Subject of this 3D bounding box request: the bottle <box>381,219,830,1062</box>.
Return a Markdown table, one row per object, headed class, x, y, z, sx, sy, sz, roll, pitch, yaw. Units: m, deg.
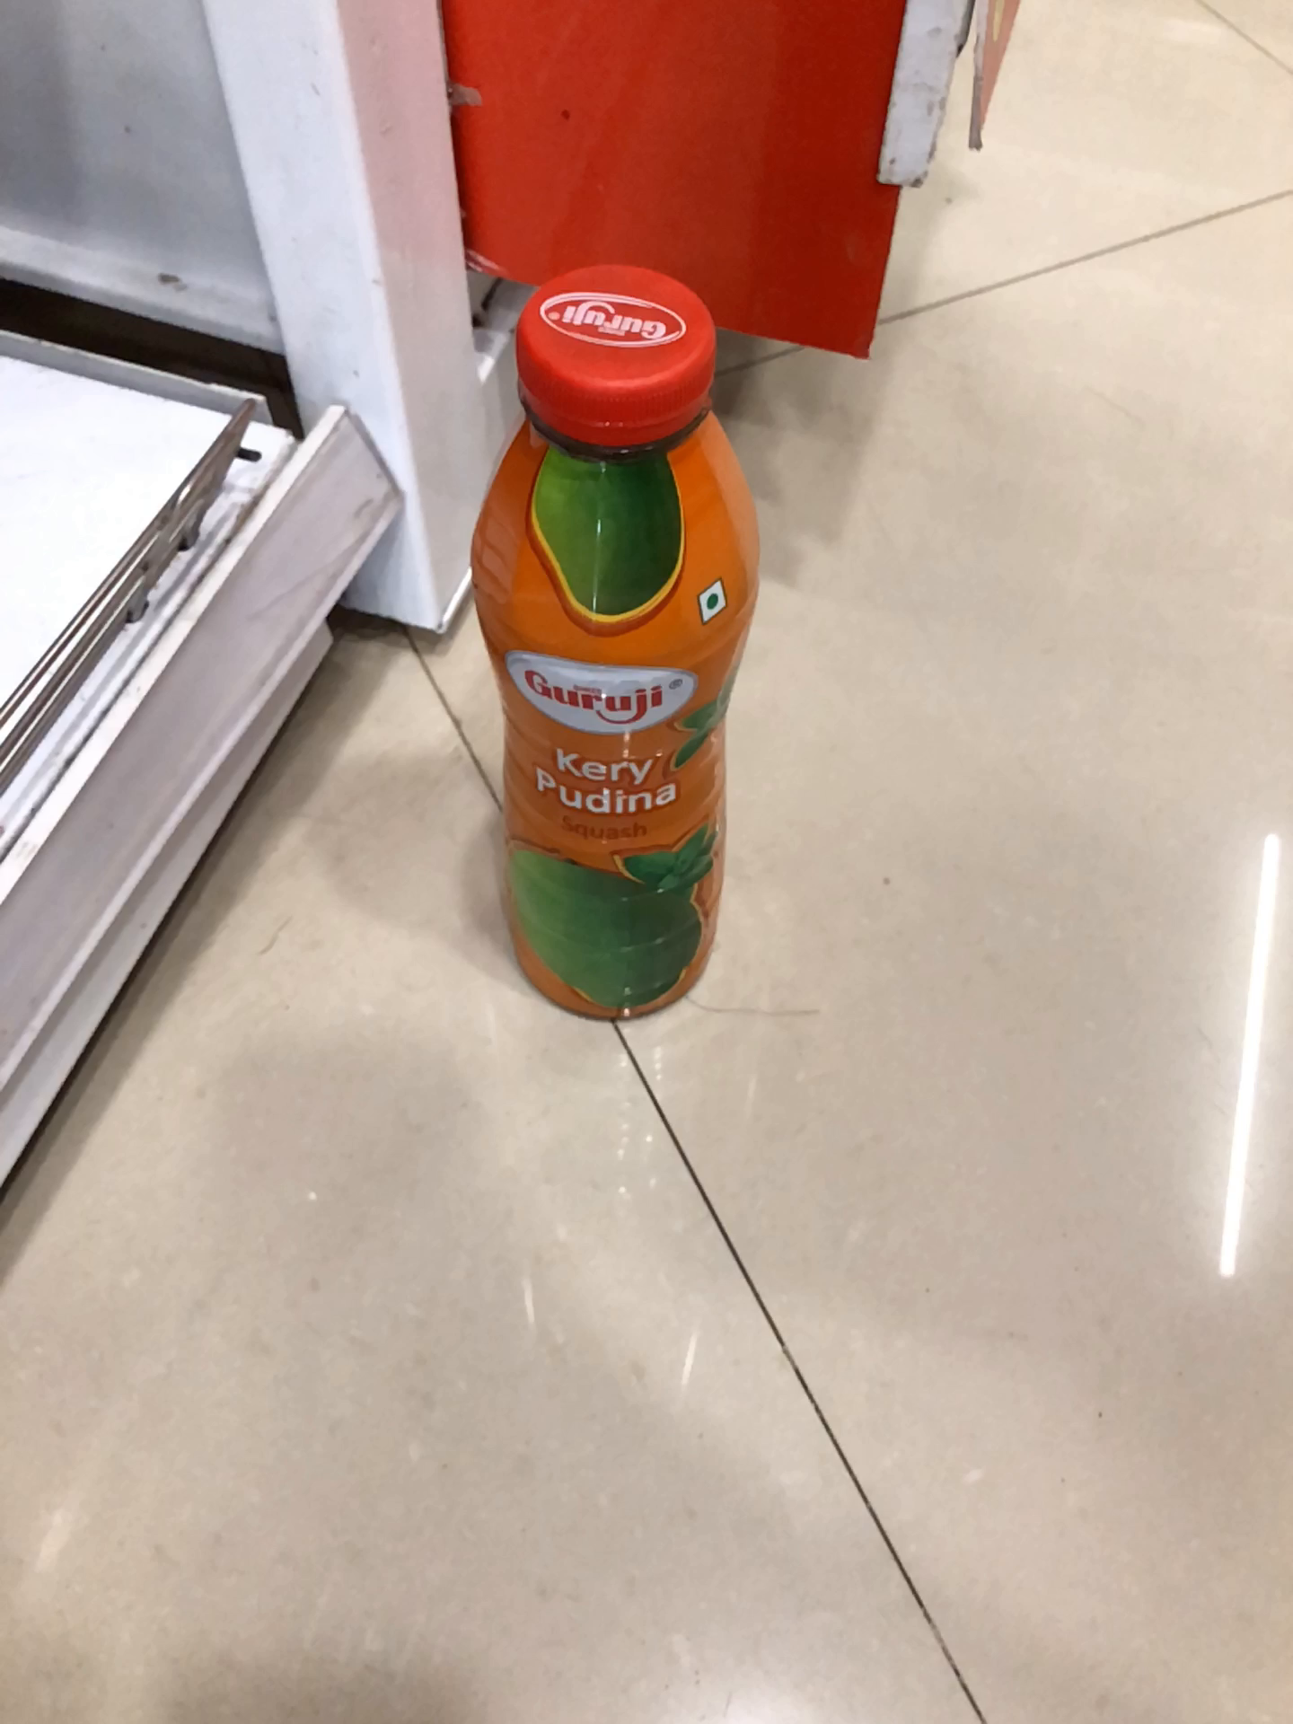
| class | x | y | z | sx | sy | sz | roll | pitch | yaw |
| --- | --- | --- | --- | --- | --- | --- | --- | --- | --- |
| bottle | -0.007 | -0.036 | 0.383 | 0.080 | 0.239 | 0.080 | 1 | 58 | -1 |
